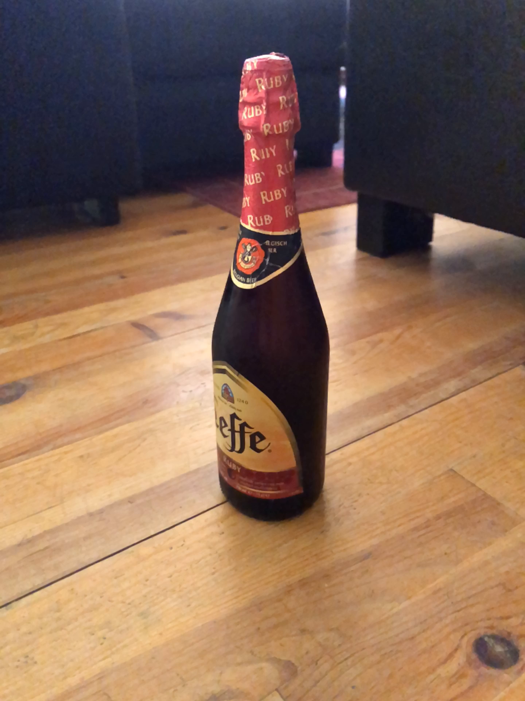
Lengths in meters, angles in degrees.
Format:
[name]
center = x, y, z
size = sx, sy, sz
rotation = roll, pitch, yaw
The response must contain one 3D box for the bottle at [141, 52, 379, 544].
[bottle]
center = 0.000, -0.029, 0.374
size = 0.090, 0.288, 0.090
rotation = -1, 28, 1
